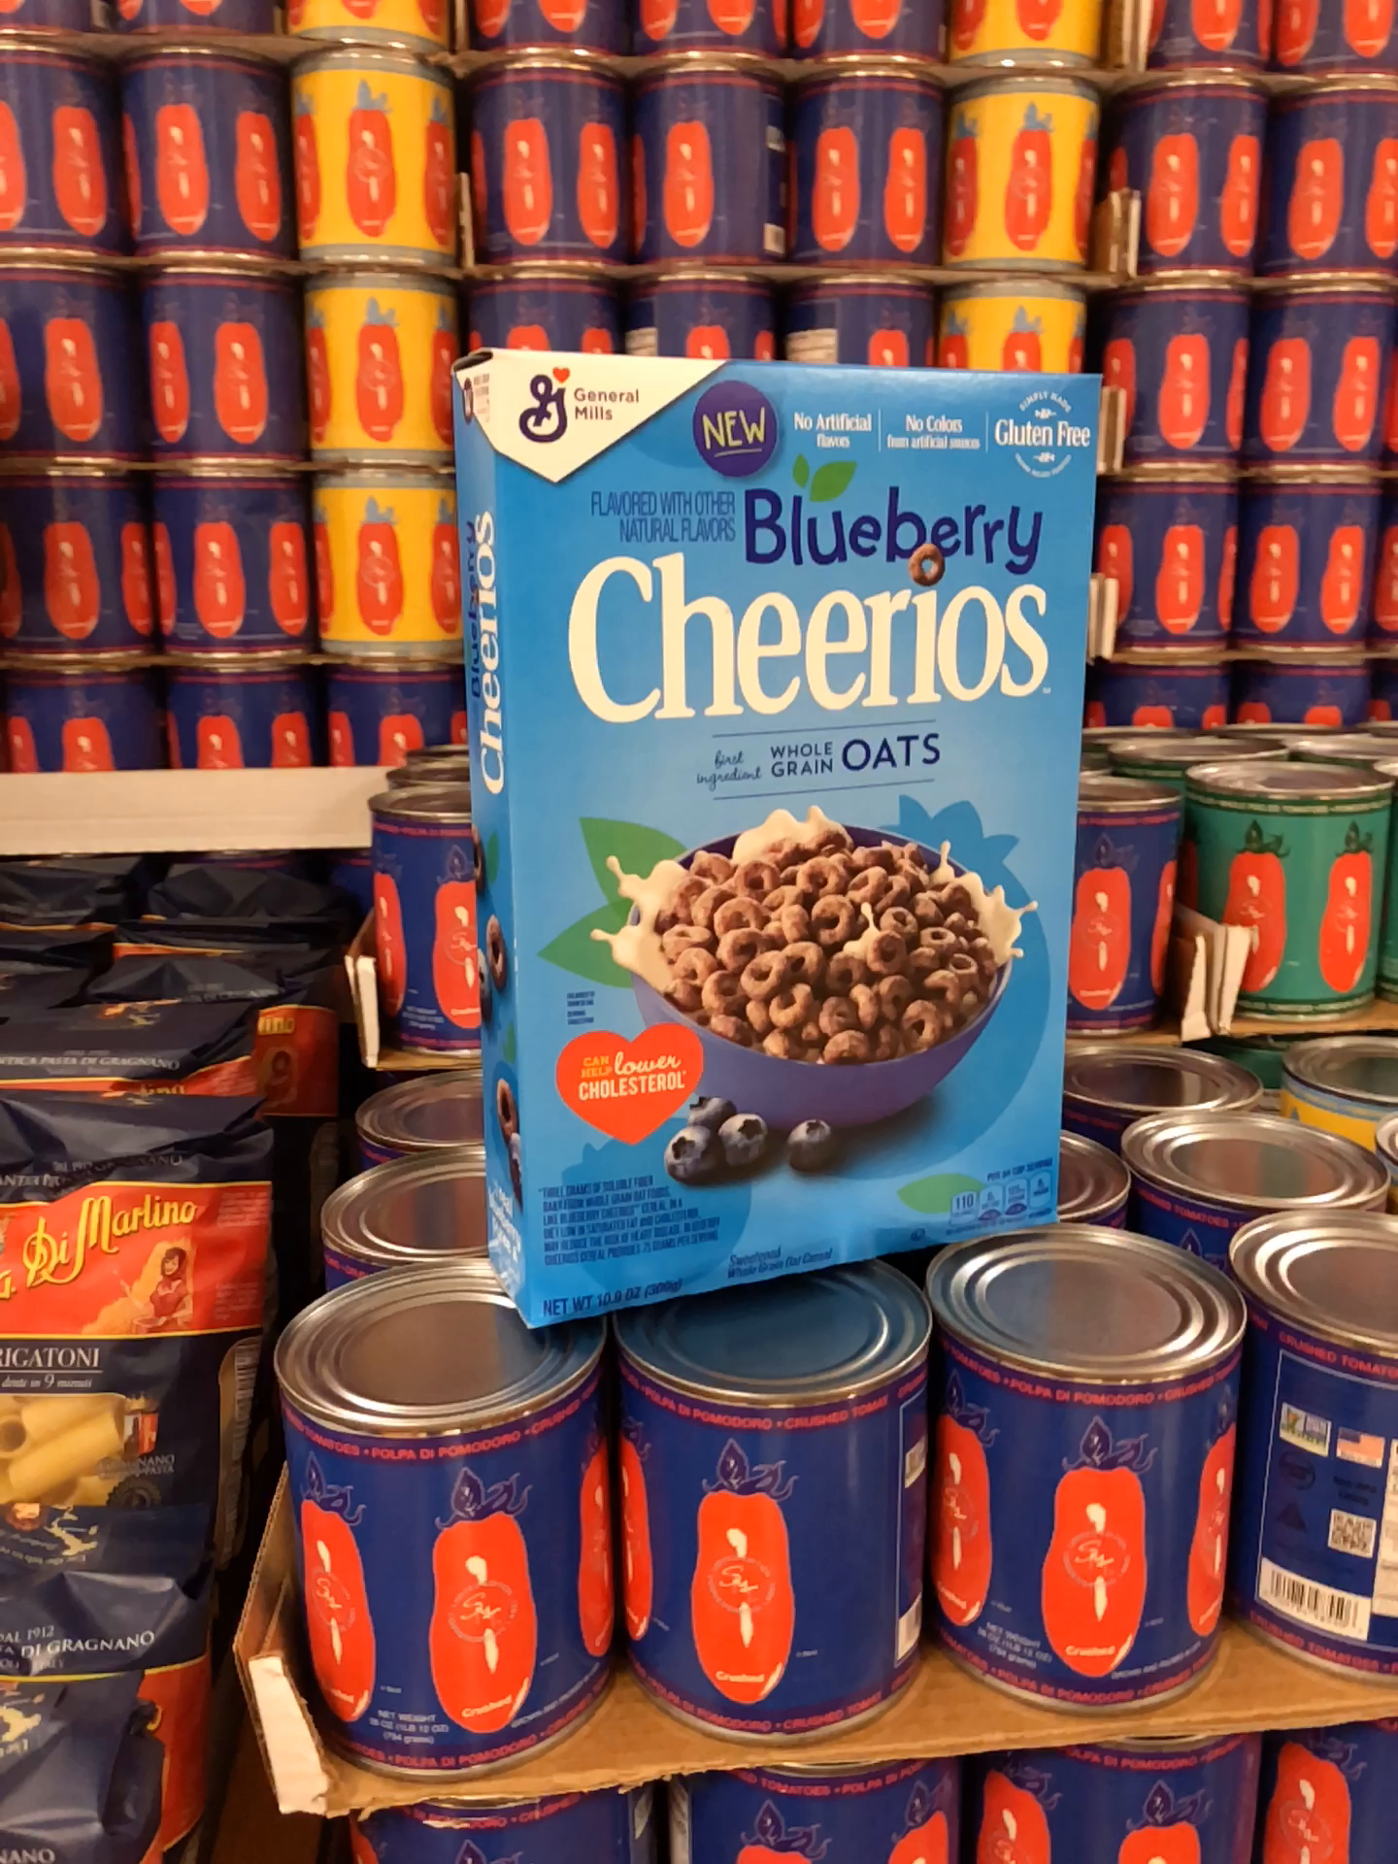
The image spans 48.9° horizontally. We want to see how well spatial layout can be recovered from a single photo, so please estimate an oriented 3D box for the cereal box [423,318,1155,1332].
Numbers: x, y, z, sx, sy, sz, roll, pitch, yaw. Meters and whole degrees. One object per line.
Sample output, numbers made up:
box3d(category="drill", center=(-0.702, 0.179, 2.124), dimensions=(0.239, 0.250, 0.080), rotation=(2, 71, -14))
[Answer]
box3d(category="cereal box", center=(0.029, -0.035, 0.485), dimensions=(0.210, 0.279, 0.060), rotation=(-6, 16, -23))
